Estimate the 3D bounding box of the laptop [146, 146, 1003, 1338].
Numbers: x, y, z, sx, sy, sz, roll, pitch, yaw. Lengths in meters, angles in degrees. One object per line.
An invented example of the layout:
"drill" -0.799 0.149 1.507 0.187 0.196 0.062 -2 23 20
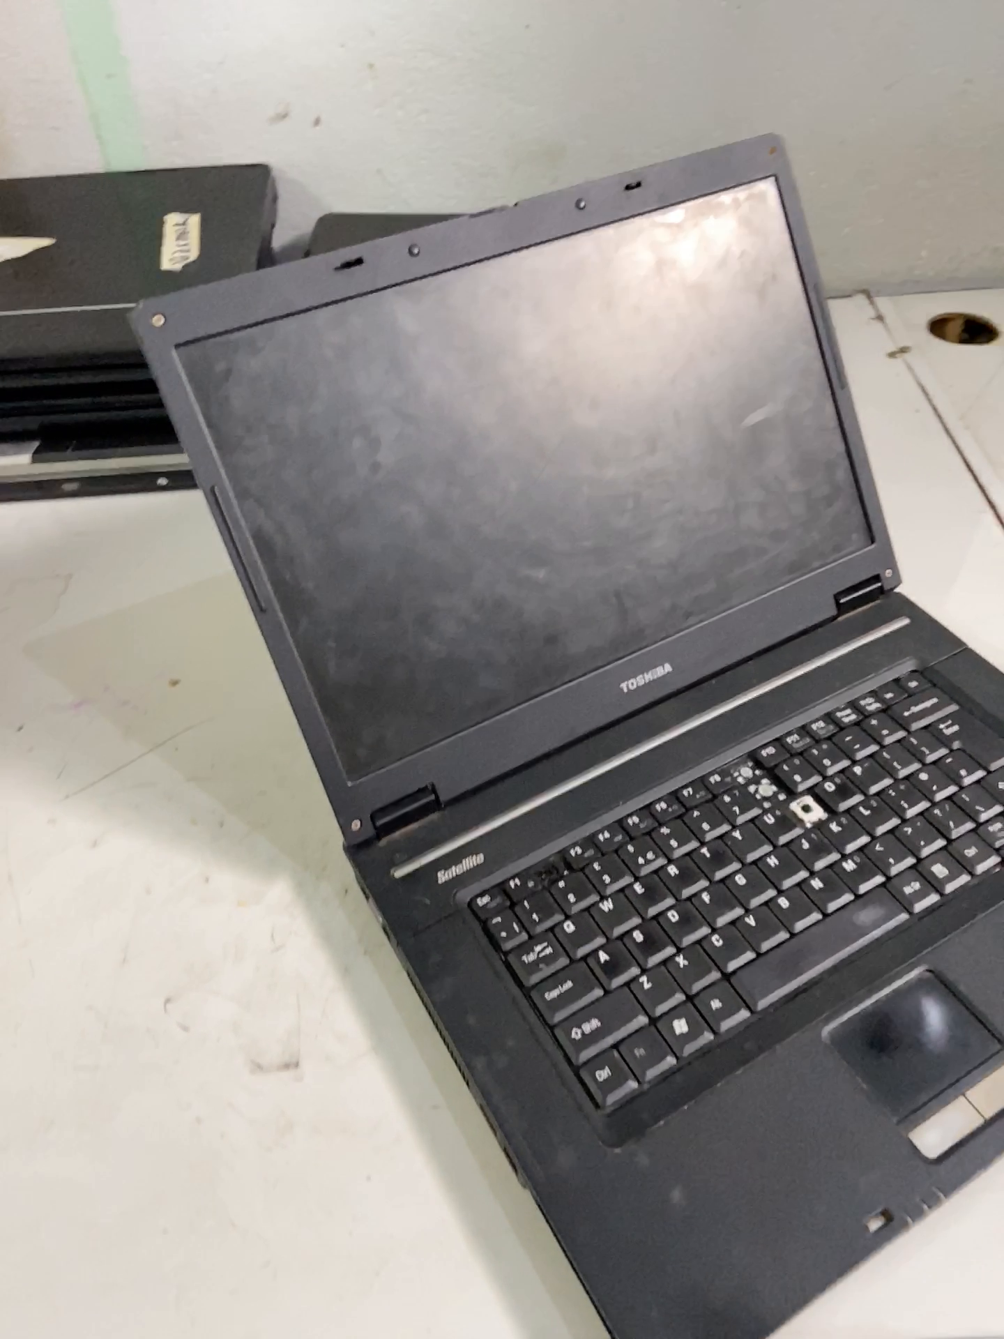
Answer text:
"laptop" 0.104 -0.020 0.450 0.356 0.212 0.403 -24 48 -18
